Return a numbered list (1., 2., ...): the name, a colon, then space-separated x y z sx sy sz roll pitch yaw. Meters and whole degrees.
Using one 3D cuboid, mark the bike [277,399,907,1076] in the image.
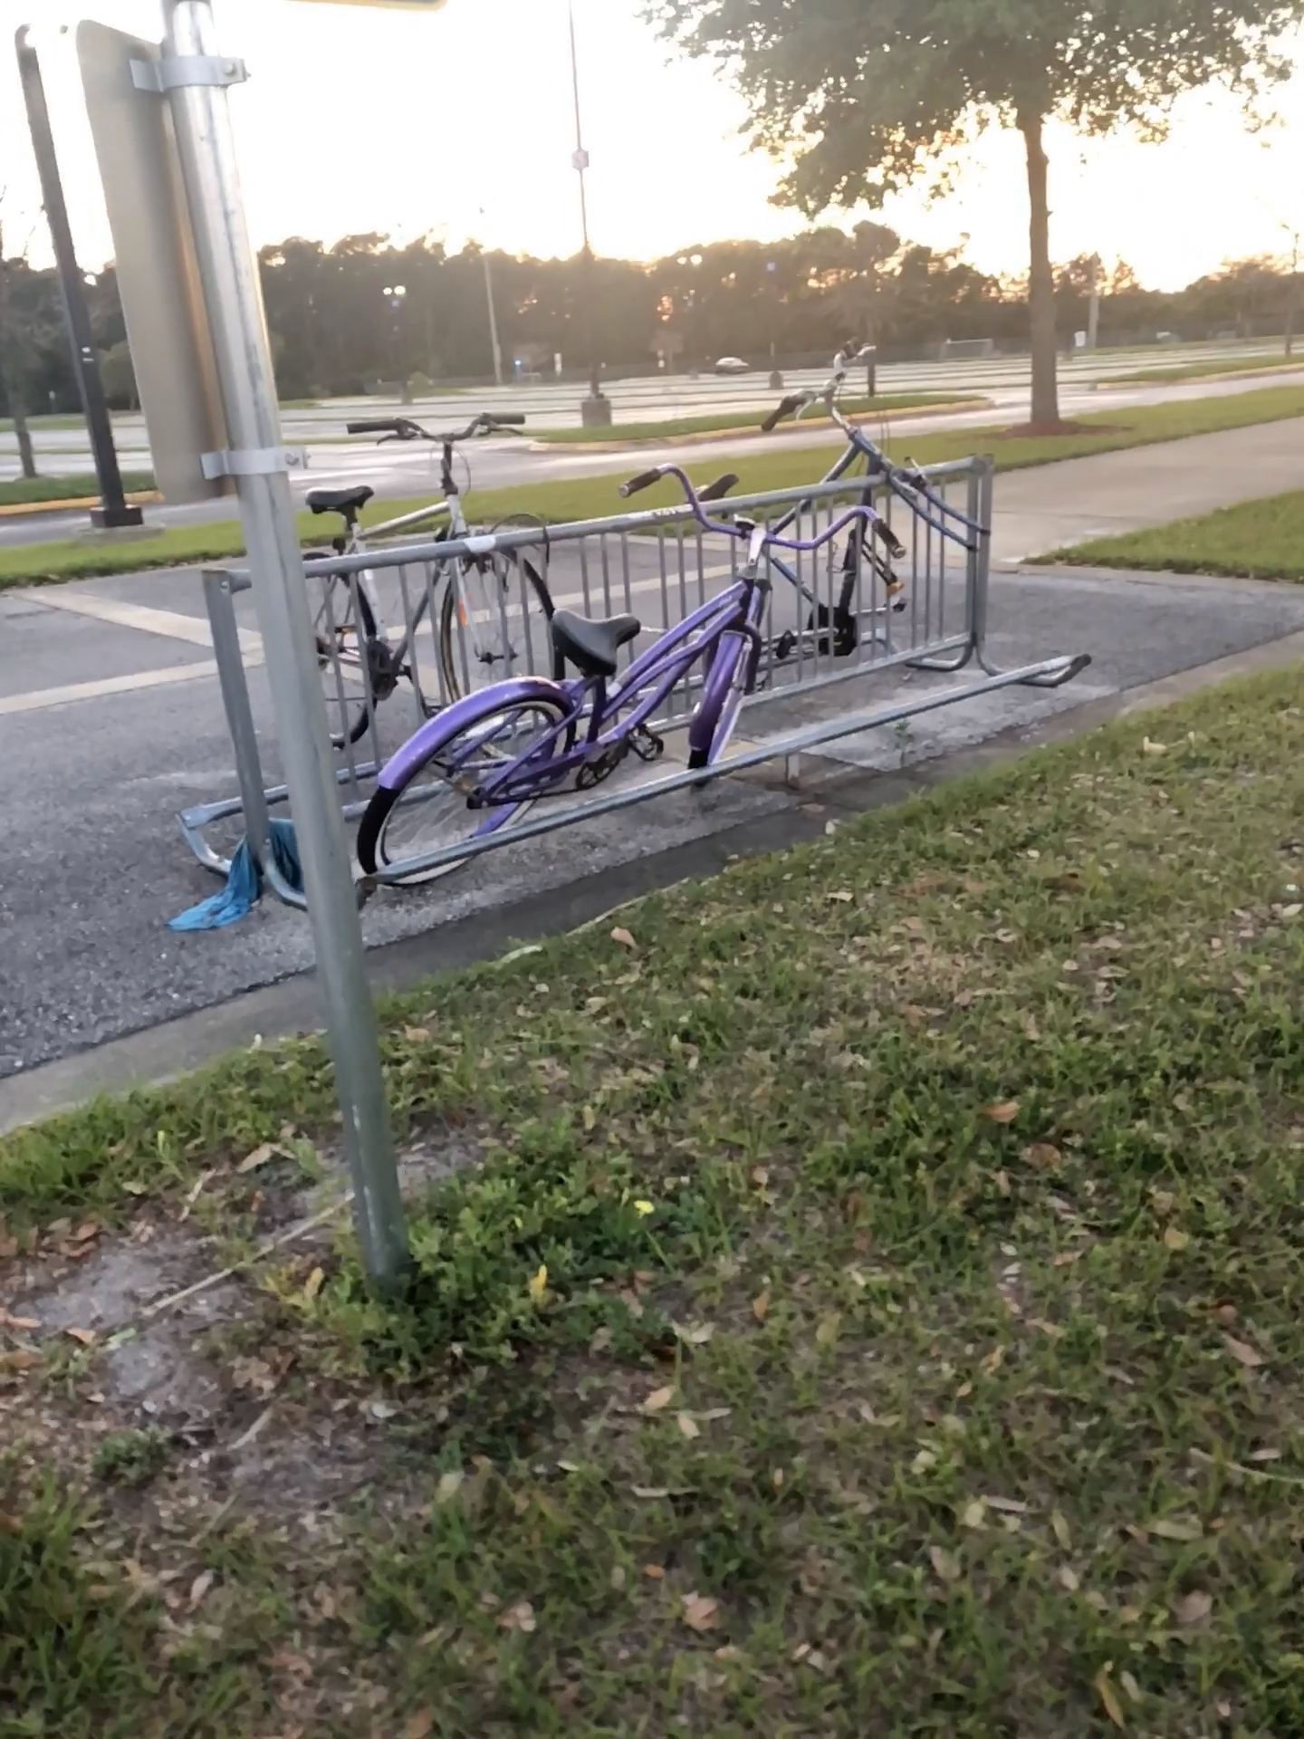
1. bike: -0.050 -0.514 3.728 0.851 1.116 1.706 11 28 37
